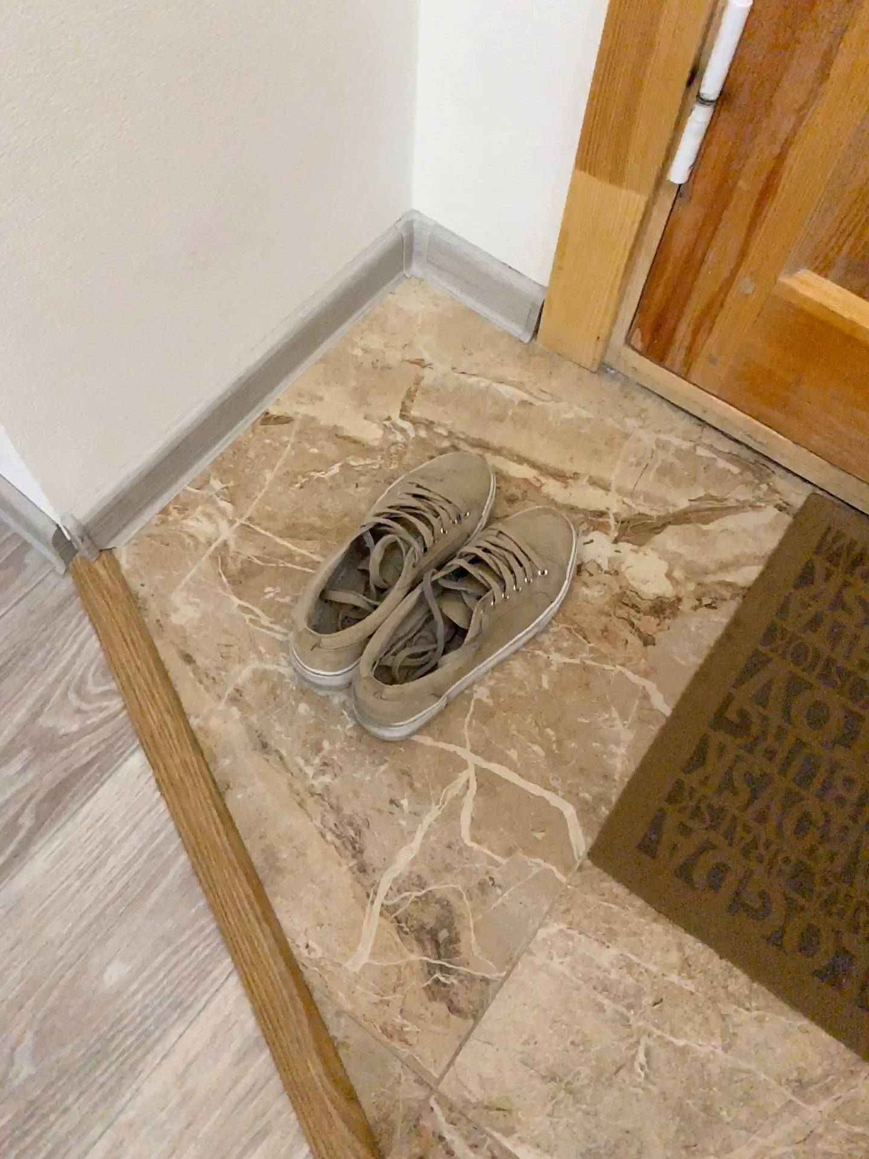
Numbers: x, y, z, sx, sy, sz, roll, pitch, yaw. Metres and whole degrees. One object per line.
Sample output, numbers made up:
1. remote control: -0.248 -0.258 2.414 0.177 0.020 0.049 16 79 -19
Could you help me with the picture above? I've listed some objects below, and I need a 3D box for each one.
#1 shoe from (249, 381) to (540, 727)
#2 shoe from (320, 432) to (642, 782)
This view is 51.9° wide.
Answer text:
1. shoe: -0.025 -0.023 0.686 0.090 0.100 0.240 31 65 12
2. shoe: 0.035 0.018 0.658 0.090 0.100 0.240 38 67 16
